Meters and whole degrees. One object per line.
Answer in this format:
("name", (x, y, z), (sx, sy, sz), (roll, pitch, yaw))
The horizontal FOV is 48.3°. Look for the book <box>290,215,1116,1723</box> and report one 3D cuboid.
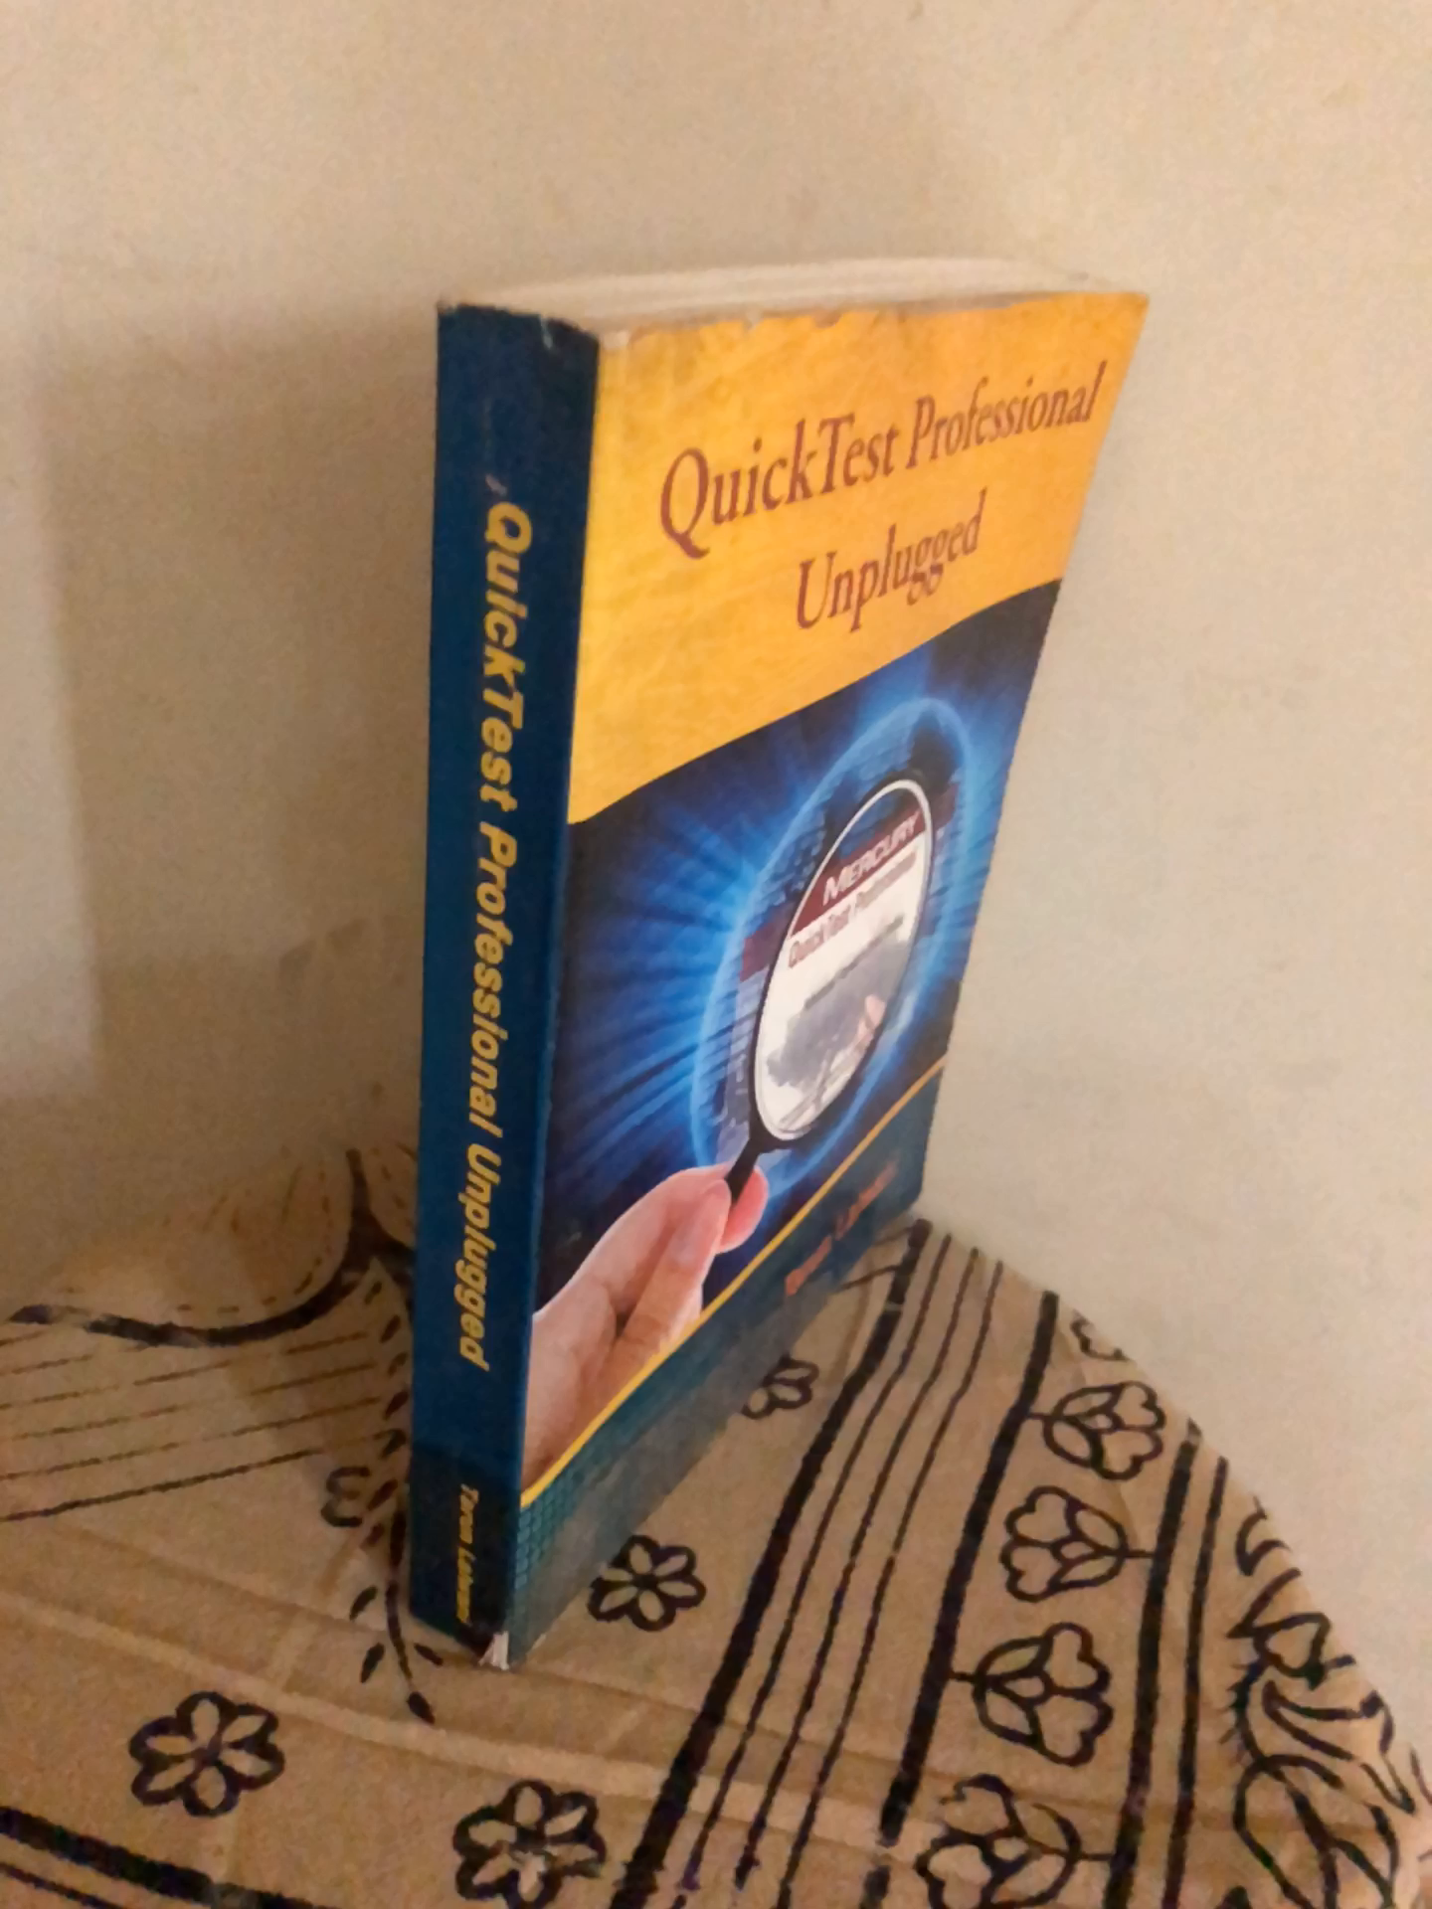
("book", (0.002, -0.010, 0.354), (0.050, 0.269, 0.211), (20, 29, 25))
